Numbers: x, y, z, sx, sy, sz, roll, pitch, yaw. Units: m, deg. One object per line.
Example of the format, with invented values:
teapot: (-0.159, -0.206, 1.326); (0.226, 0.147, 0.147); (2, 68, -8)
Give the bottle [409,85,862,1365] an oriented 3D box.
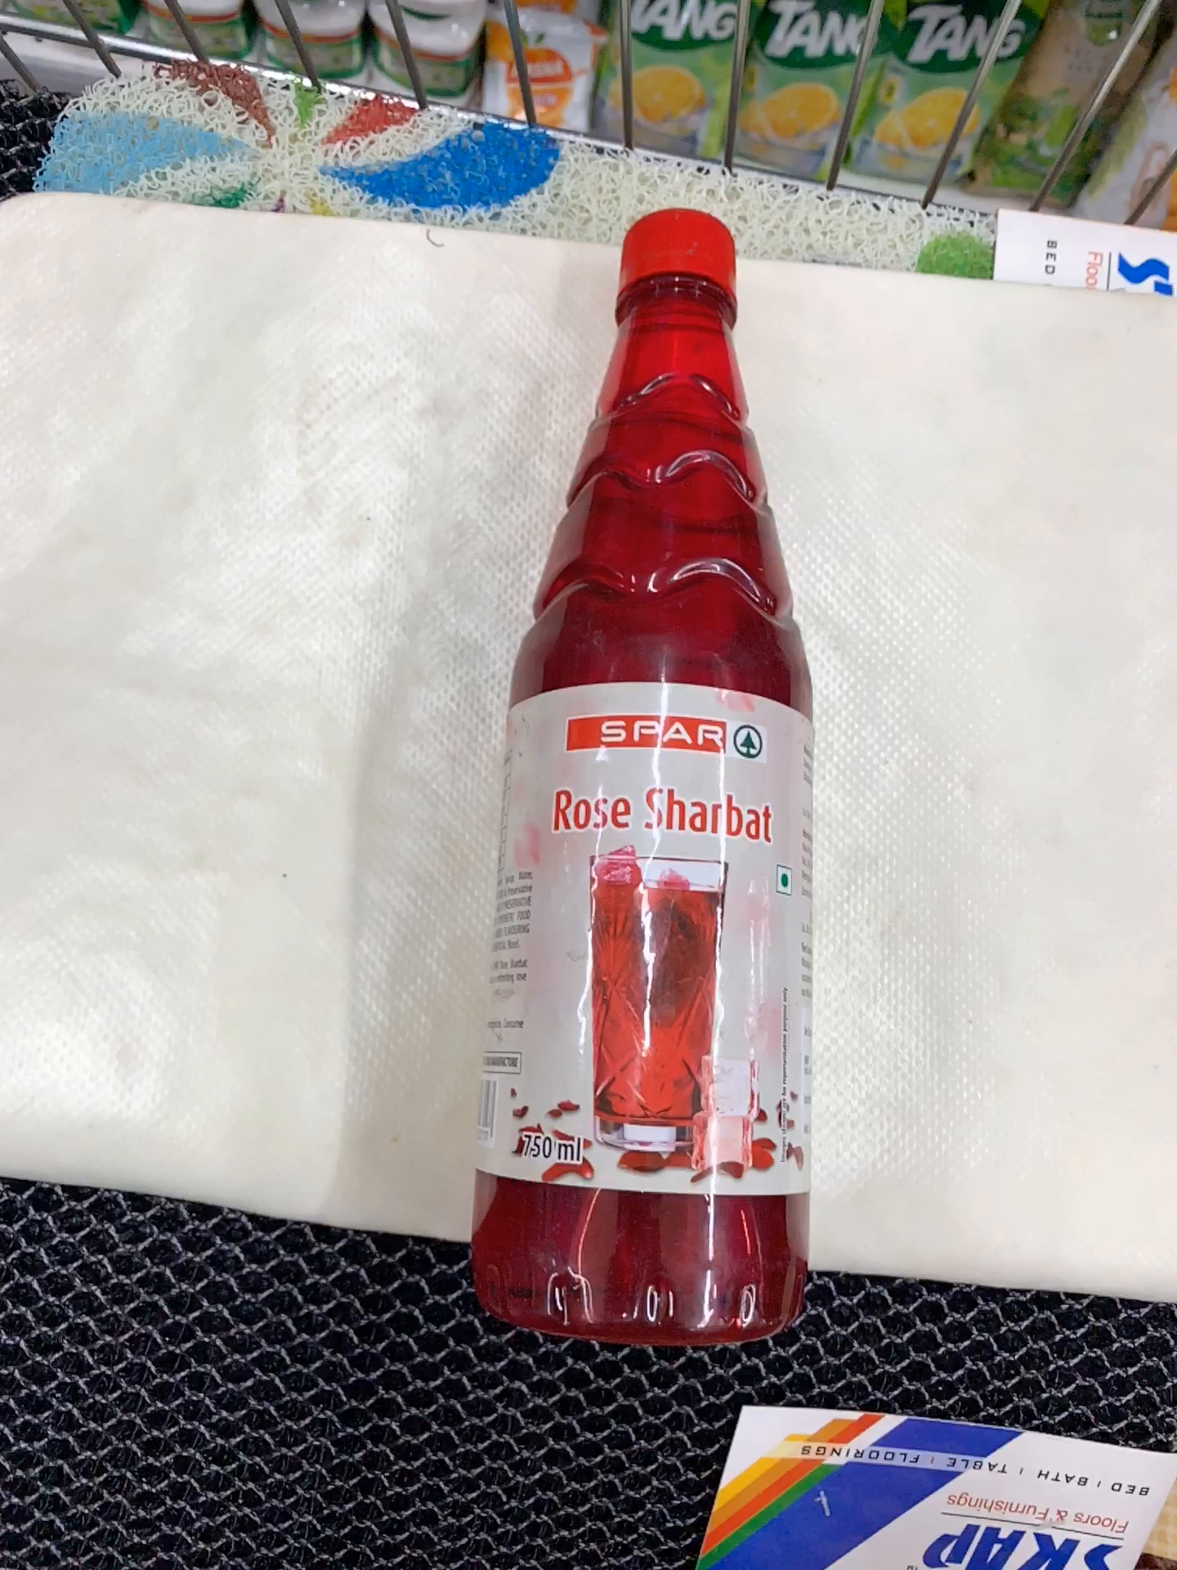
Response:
bottle: (0.012, -0.016, 0.249); (0.070, 0.070, 0.230); (3, 77, -1)
